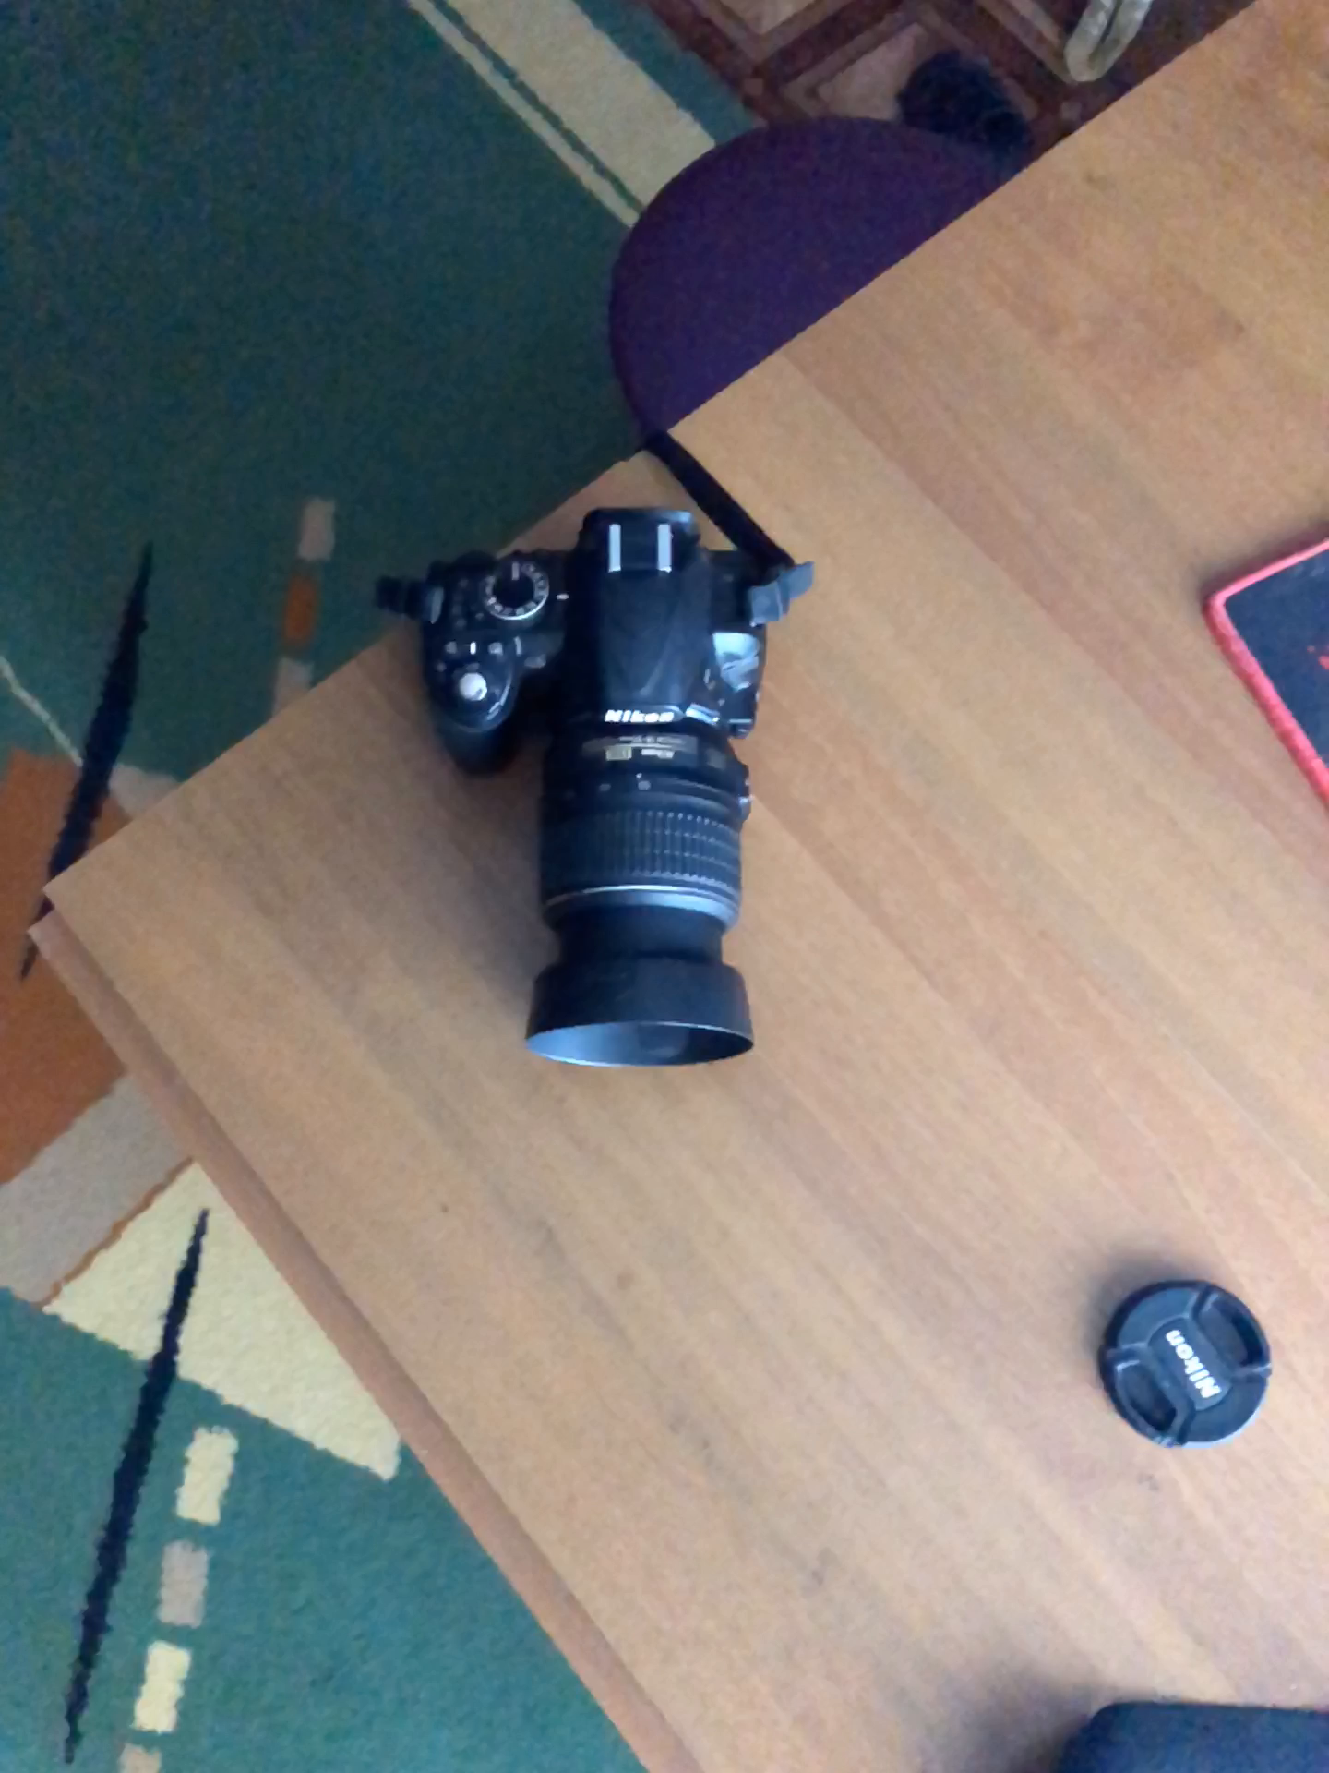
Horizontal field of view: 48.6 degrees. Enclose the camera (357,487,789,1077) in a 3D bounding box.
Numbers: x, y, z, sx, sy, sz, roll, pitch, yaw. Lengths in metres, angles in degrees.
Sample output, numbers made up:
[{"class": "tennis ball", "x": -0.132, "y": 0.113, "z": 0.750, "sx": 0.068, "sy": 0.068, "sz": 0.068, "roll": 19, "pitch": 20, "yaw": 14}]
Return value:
[{"class": "camera", "x": -0.026, "y": -0.033, "z": 0.523, "sx": 0.129, "sy": 0.092, "sz": 0.183, "roll": 3, "pitch": 74, "yaw": 1}]
